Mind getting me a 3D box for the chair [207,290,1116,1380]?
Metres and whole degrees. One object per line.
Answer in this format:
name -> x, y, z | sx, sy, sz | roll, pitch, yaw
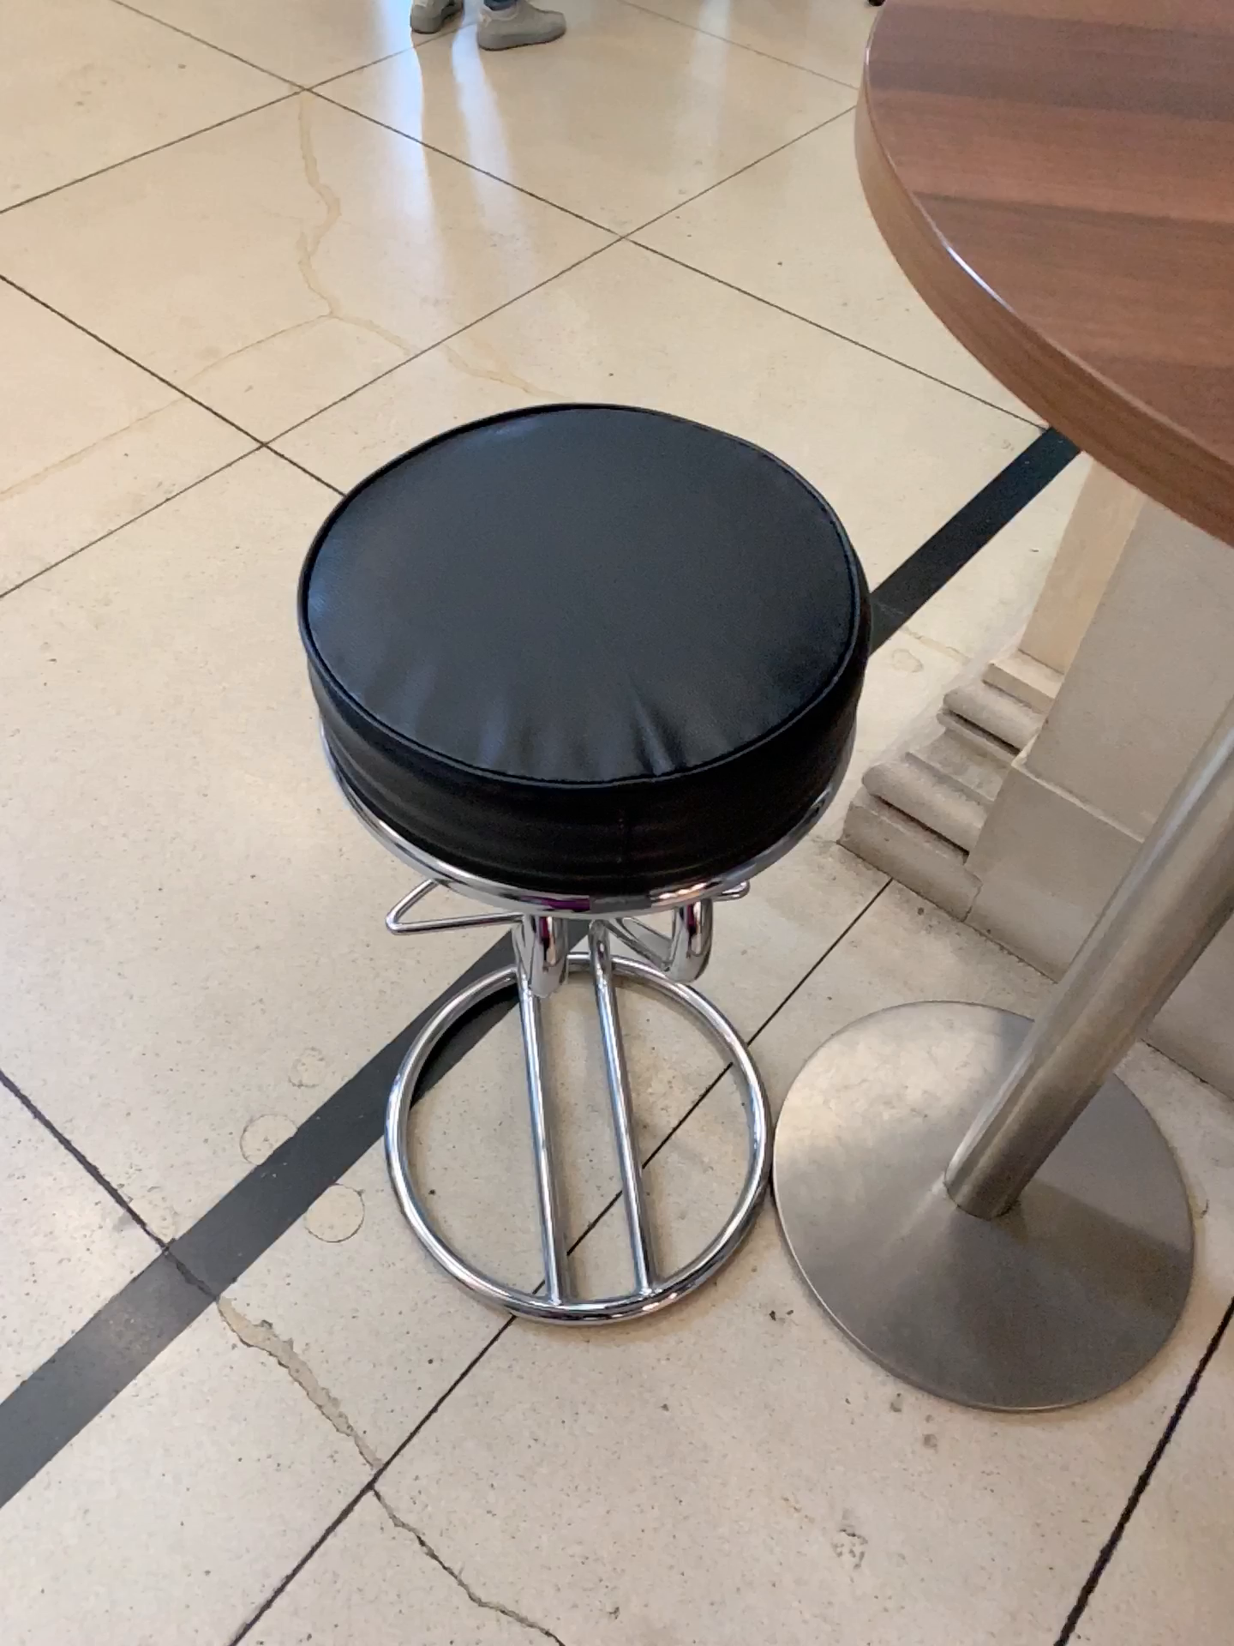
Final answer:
chair -> -0.028, 0.070, 1.096 | 0.464, 0.813, 0.507 | -8, 53, -8
